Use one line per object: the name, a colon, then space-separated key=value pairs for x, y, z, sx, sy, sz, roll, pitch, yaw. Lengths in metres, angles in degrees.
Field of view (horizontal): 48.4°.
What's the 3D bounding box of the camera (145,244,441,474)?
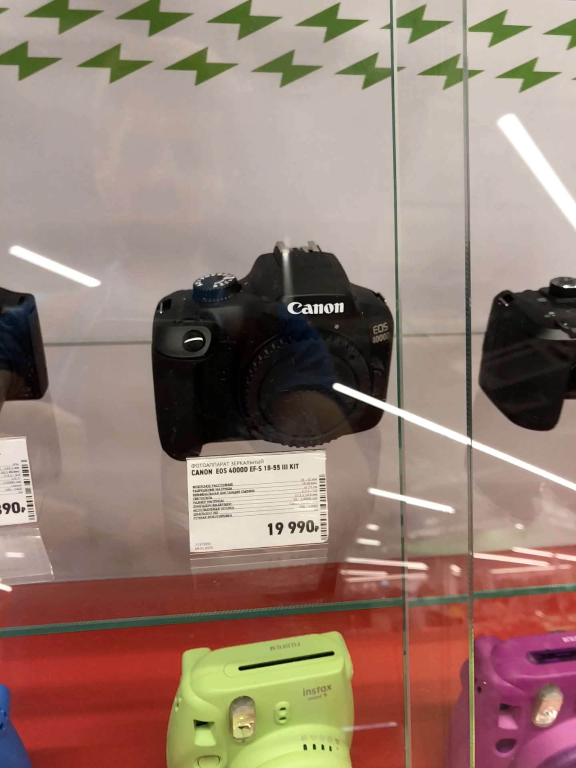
camera: x=-0.005 y=-0.020 z=0.351 sx=0.135 sy=0.083 sz=0.100 roll=-3 pitch=29 yaw=-9
